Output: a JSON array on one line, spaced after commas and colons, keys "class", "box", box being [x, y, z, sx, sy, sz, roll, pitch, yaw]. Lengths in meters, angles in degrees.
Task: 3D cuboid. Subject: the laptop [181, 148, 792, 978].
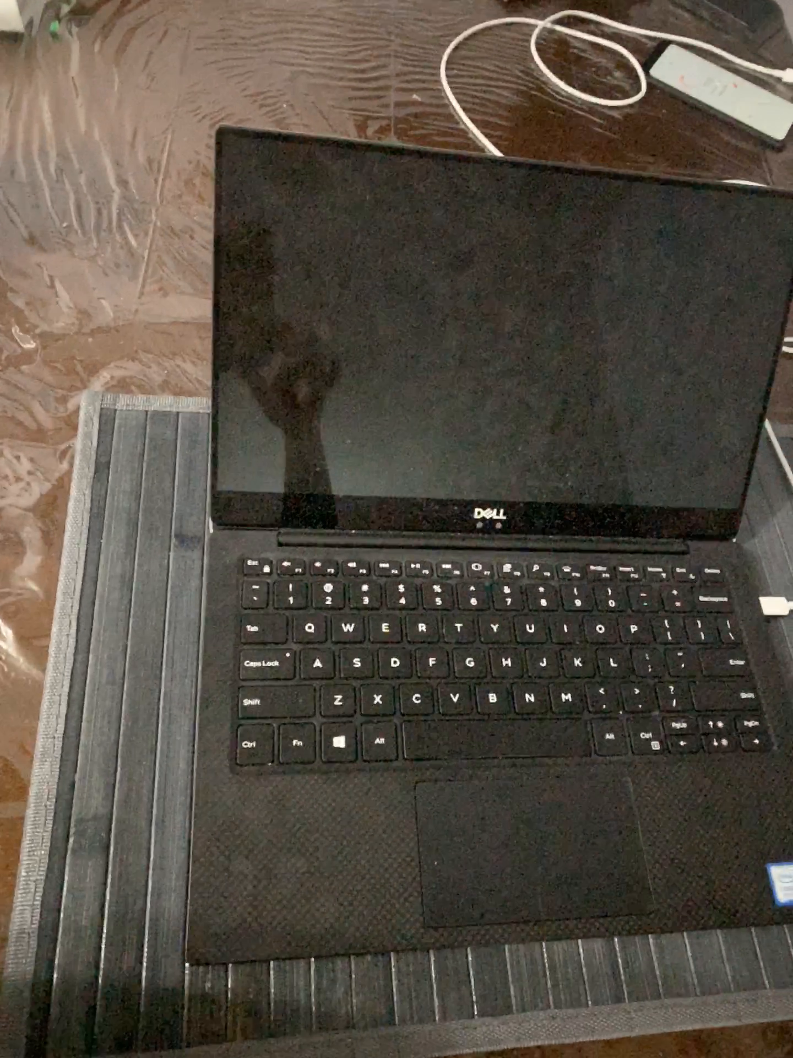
[{"class": "laptop", "box": [0.068, 0.007, 0.343, 0.282, 0.130, 0.298, 1, 60, -11]}]
